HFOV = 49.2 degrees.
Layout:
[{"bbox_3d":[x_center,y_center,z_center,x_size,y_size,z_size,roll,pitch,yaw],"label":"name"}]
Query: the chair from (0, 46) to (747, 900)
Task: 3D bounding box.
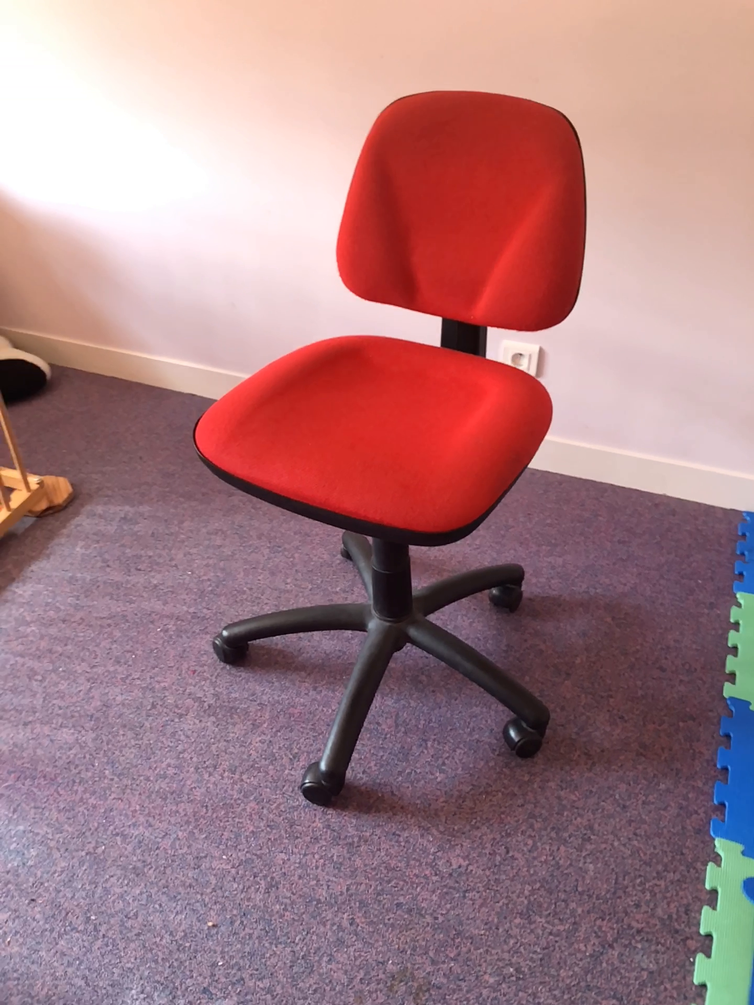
[{"bbox_3d":[0.032,-0.092,1.207,0.640,0.894,0.675,18,41,23],"label":"chair"}]
